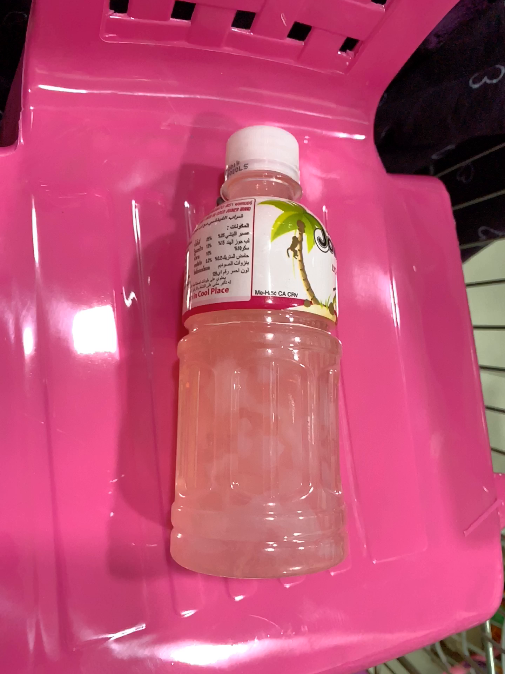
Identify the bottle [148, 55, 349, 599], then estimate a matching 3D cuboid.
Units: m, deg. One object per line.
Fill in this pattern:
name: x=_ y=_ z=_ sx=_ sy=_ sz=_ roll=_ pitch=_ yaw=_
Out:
bottle: x=0.002 y=-0.004 z=0.196 sx=0.060 sy=0.060 sz=0.170 roll=-1 pitch=83 yaw=7
